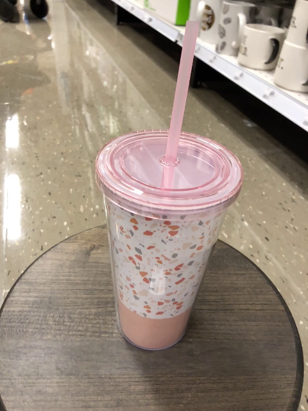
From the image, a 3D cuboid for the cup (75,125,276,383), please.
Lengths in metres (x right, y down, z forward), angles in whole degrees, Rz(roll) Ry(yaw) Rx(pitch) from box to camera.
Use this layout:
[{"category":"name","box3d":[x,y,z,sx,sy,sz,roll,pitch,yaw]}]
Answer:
[{"category":"cup","box3d":[0.006,0.034,0.259,0.090,0.149,0.090,3,37,-2]}]
